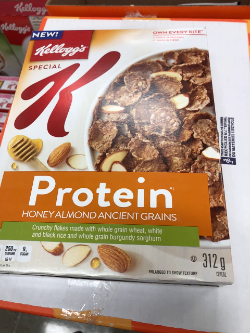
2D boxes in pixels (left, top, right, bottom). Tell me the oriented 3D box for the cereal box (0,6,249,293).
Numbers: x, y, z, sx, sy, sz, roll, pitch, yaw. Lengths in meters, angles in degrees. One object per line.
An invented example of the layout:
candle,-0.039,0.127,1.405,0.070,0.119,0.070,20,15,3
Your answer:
cereal box,-0.015,-0.031,0.262,0.200,0.060,0.260,0,65,7
